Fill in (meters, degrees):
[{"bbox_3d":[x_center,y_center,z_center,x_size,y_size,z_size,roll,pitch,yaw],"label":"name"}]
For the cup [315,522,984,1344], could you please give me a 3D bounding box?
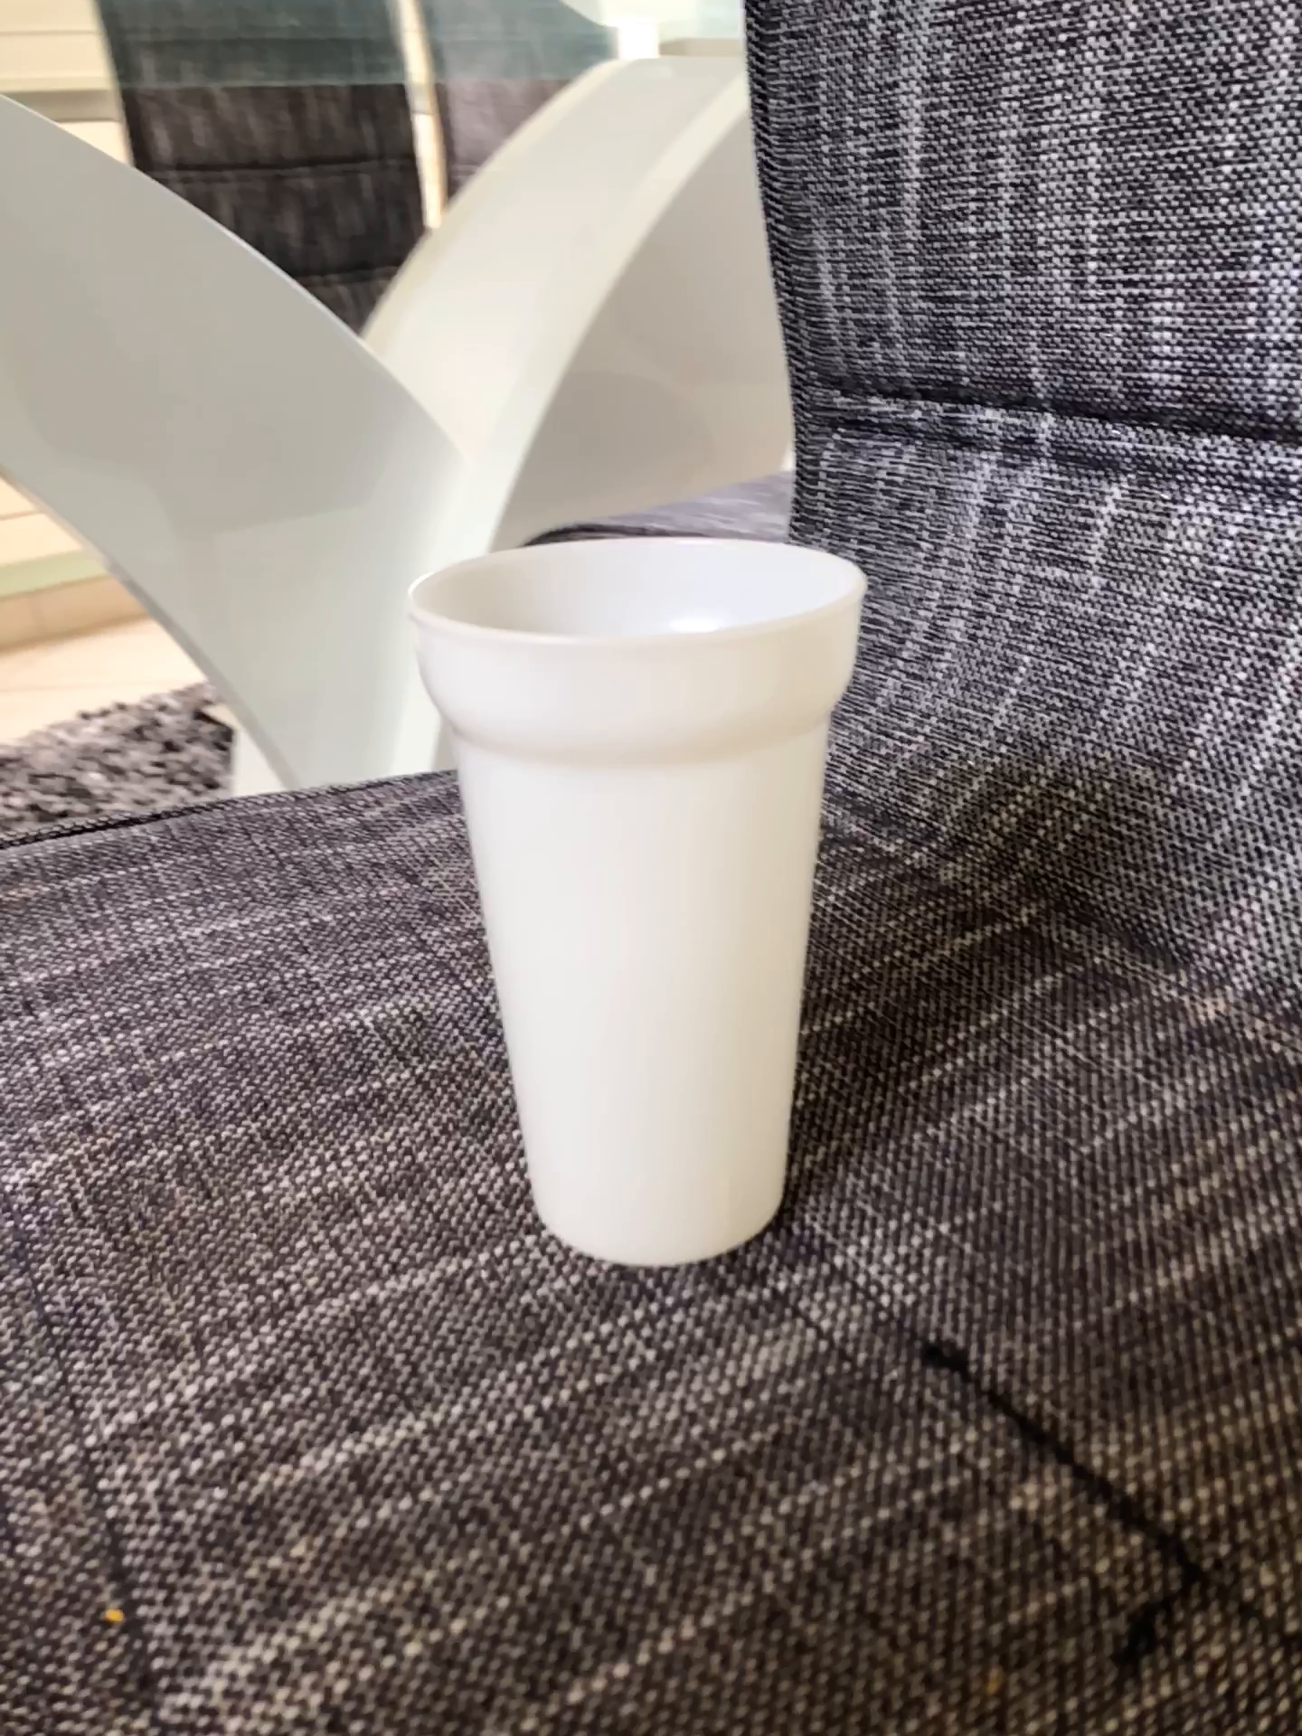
[{"bbox_3d":[0.006,0.004,0.255,0.080,0.109,0.080,-3,25,2],"label":"cup"}]
